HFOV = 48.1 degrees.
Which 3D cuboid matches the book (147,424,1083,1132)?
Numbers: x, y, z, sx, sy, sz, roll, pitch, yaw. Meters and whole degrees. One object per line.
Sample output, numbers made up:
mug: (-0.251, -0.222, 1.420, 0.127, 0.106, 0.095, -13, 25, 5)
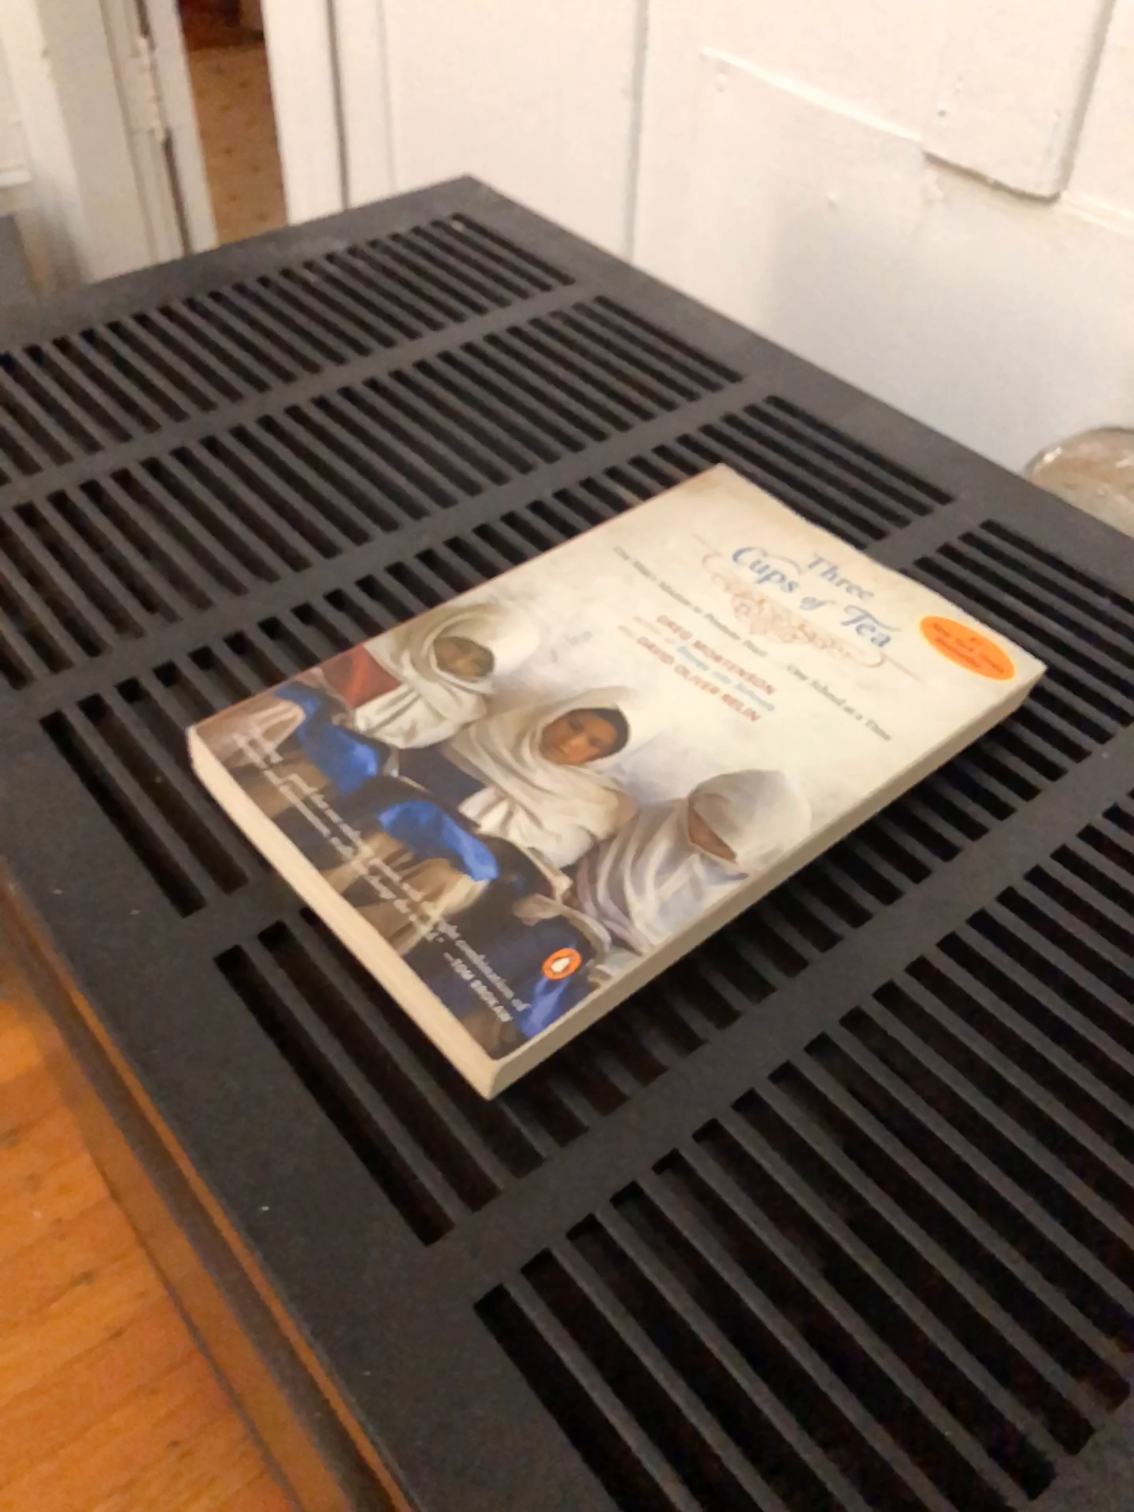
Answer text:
book: (0.019, -0.016, 0.357, 0.221, 0.030, 0.140, -31, 54, -30)
